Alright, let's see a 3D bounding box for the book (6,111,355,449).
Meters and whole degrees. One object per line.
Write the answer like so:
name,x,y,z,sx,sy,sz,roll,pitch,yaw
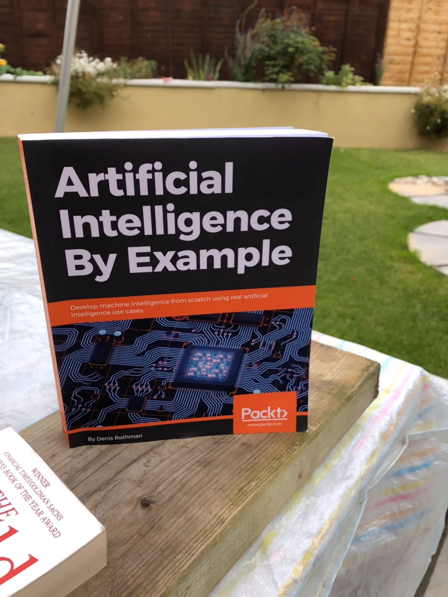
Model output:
book,-0.026,-0.008,0.364,0.210,0.238,0.040,-2,23,-8
